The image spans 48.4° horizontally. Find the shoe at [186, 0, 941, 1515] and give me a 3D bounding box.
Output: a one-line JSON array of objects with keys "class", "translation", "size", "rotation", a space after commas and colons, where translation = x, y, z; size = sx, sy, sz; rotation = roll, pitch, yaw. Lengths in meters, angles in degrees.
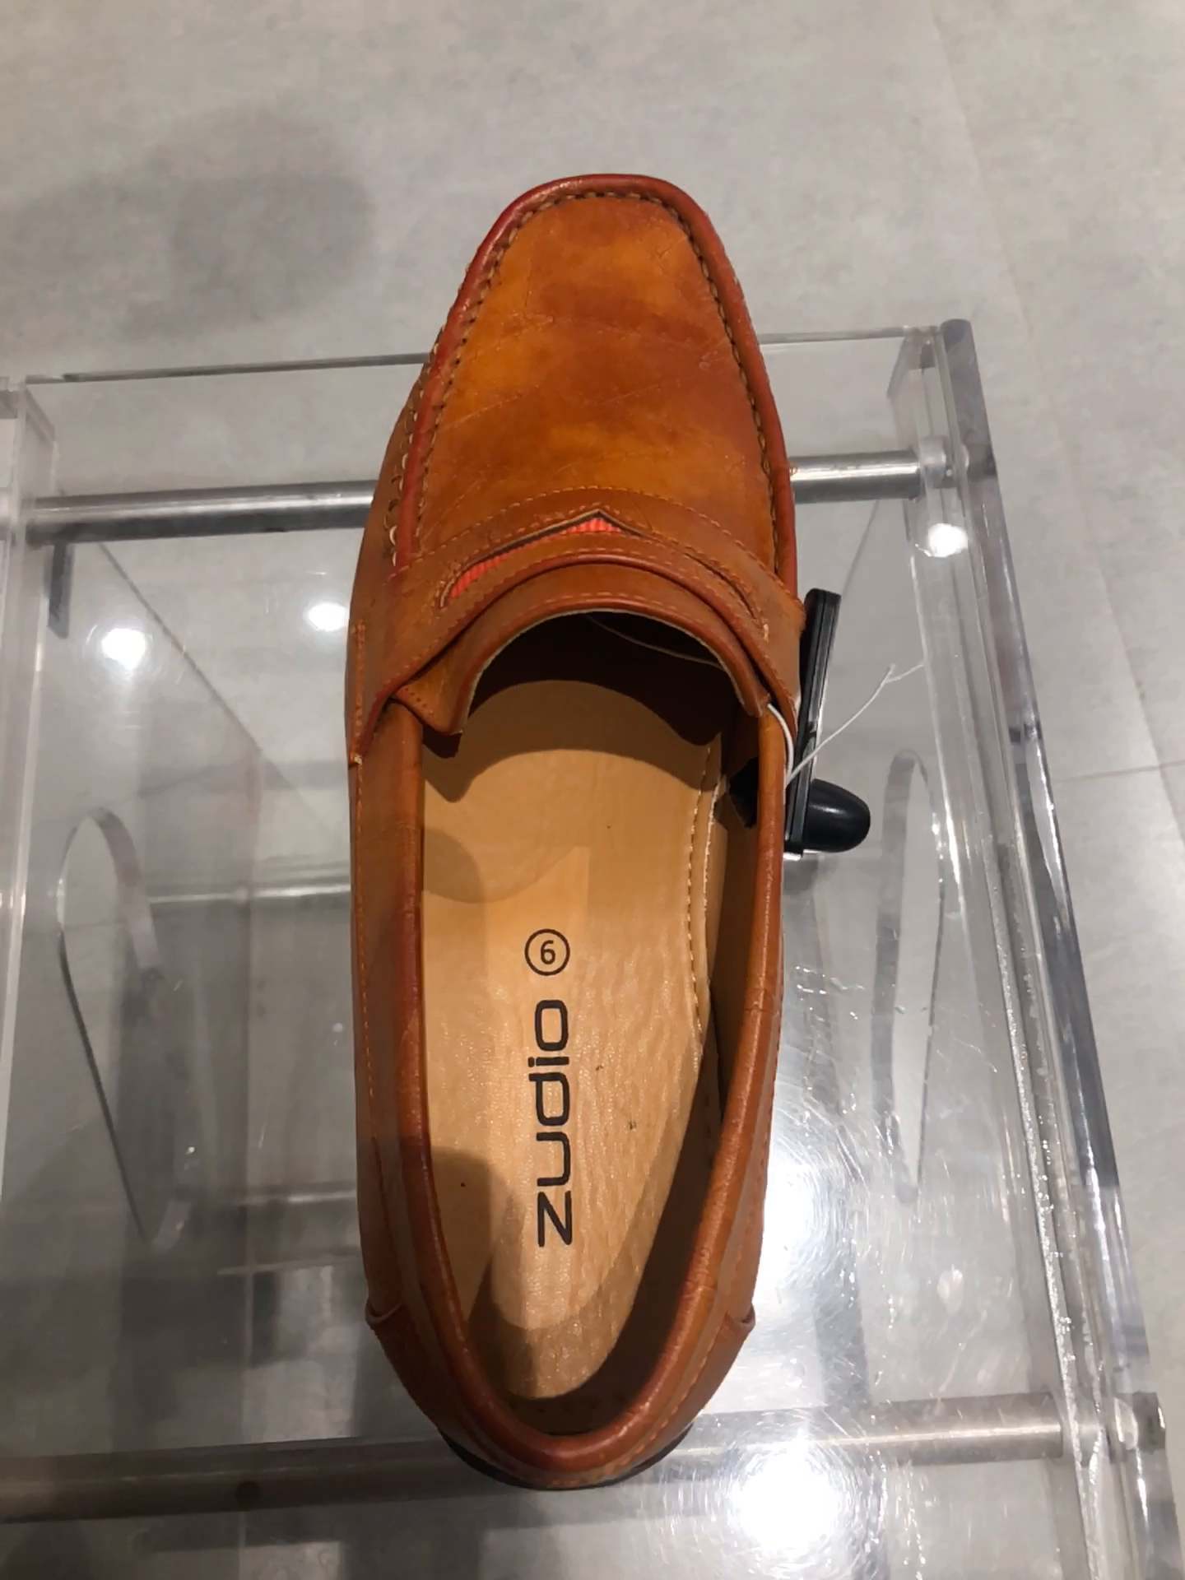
[{"class": "shoe", "translation": [-0.005, -0.019, 0.280], "size": [0.110, 0.090, 0.291], "rotation": [-1, 72, 1]}]
